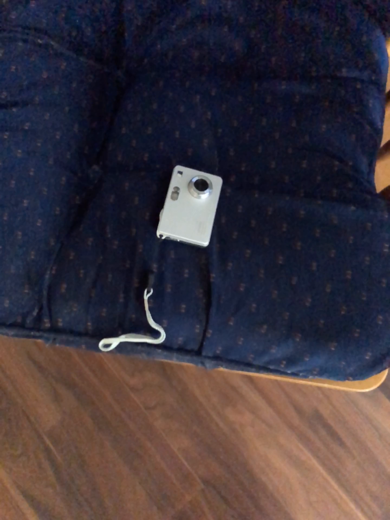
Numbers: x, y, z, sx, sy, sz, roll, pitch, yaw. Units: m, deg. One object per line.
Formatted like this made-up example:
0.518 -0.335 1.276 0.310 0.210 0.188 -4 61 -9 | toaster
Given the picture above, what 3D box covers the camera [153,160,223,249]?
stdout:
-0.007 -0.061 0.469 0.058 0.018 0.085 14 70 -3 | camera
